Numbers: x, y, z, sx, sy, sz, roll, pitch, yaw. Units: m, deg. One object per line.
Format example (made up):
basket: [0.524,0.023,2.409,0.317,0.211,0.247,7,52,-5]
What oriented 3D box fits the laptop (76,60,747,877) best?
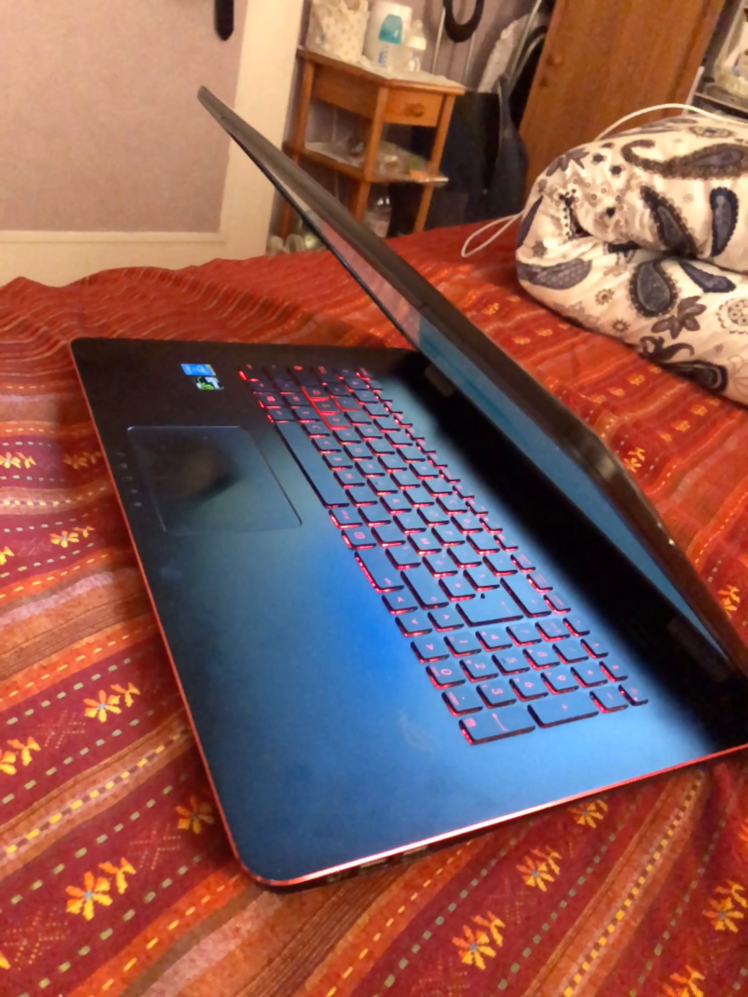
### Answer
laptop: [0.016,-0.069,0.431,0.268,0.168,0.400,-3,37,-28]
